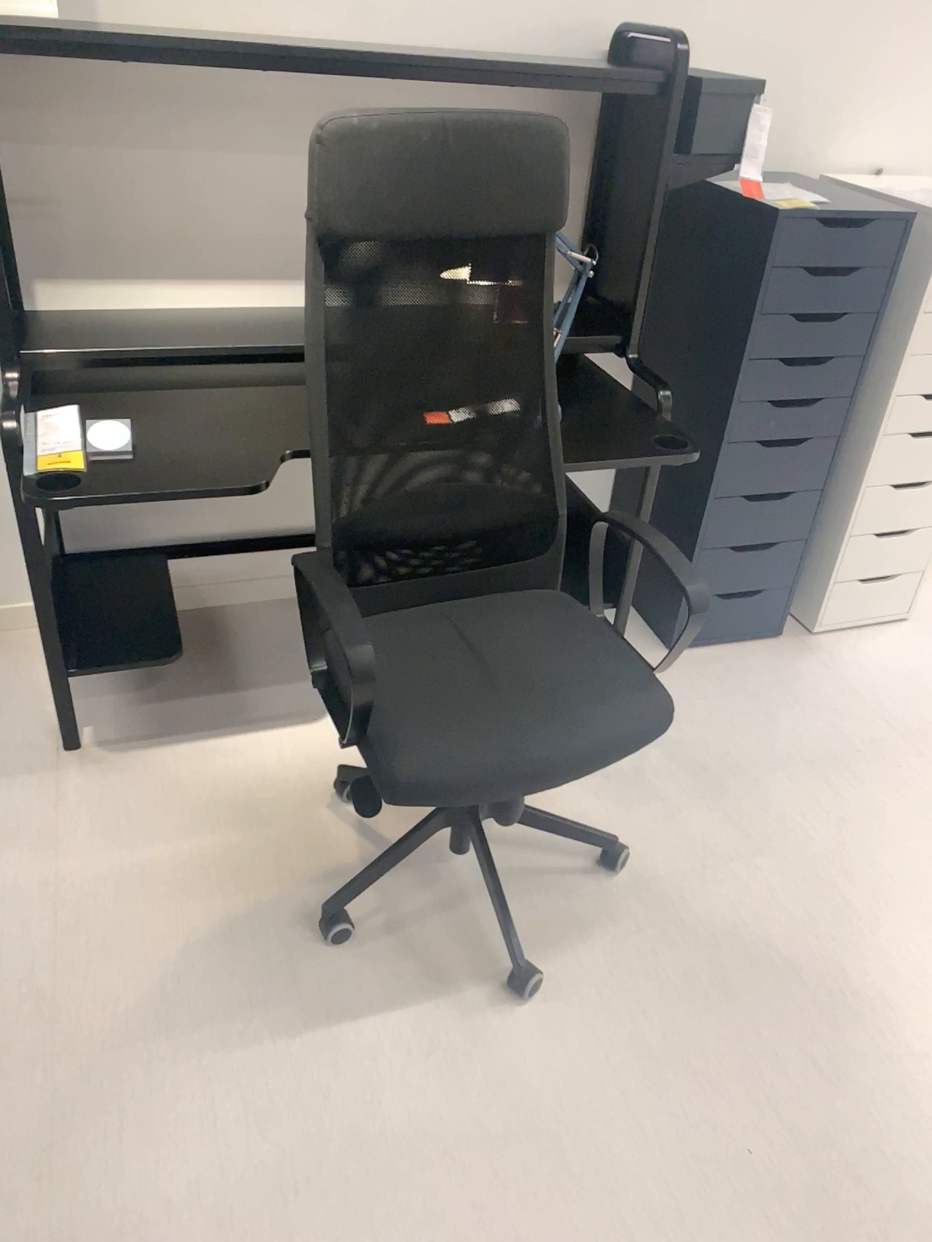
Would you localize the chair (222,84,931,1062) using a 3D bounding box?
[{"bbox_3d":[0.045,-0.086,1.506,0.640,1.244,0.713,-10,35,-22],"label":"chair"}]
